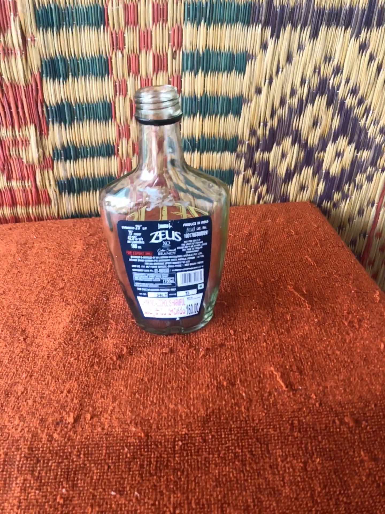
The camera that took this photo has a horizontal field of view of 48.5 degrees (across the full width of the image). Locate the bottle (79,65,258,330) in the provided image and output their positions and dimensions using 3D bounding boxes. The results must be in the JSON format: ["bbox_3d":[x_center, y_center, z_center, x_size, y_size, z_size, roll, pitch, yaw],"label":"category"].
[{"bbox_3d":[-0.011,-0.027,0.251,0.080,0.149,0.040,-3,36,-4],"label":"bottle"}]
